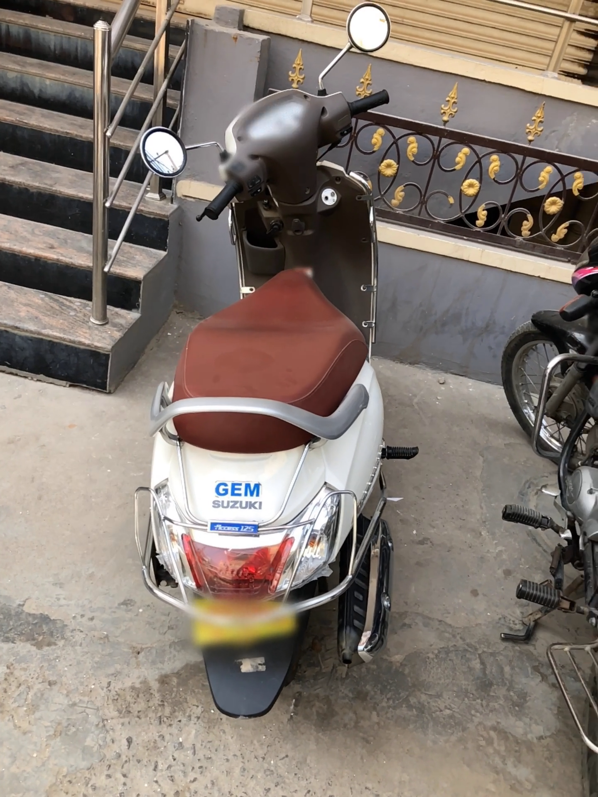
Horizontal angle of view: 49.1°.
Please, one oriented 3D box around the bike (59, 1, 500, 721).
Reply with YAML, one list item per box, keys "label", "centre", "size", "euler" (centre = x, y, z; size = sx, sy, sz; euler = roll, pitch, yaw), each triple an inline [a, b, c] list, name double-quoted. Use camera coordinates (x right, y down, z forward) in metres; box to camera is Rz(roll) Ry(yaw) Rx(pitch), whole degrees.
- label: "bike"
  centre: [-0.115, -0.252, 1.780]
  size: [0.597, 1.194, 1.494]
  euler: [9, 34, -5]
